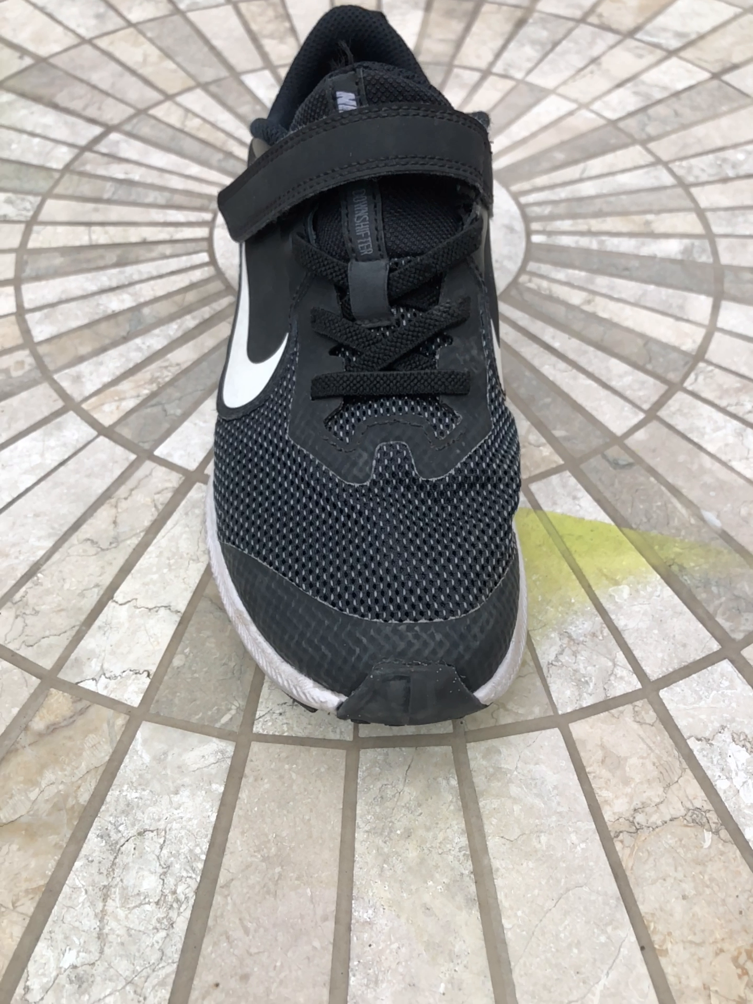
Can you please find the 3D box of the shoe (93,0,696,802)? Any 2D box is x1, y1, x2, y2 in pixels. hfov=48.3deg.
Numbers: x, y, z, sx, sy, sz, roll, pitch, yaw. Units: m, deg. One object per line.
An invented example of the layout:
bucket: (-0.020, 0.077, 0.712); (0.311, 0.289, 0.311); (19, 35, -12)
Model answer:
shoe: (-0.003, -0.055, 0.251); (0.100, 0.100, 0.251); (-2, 55, -2)
